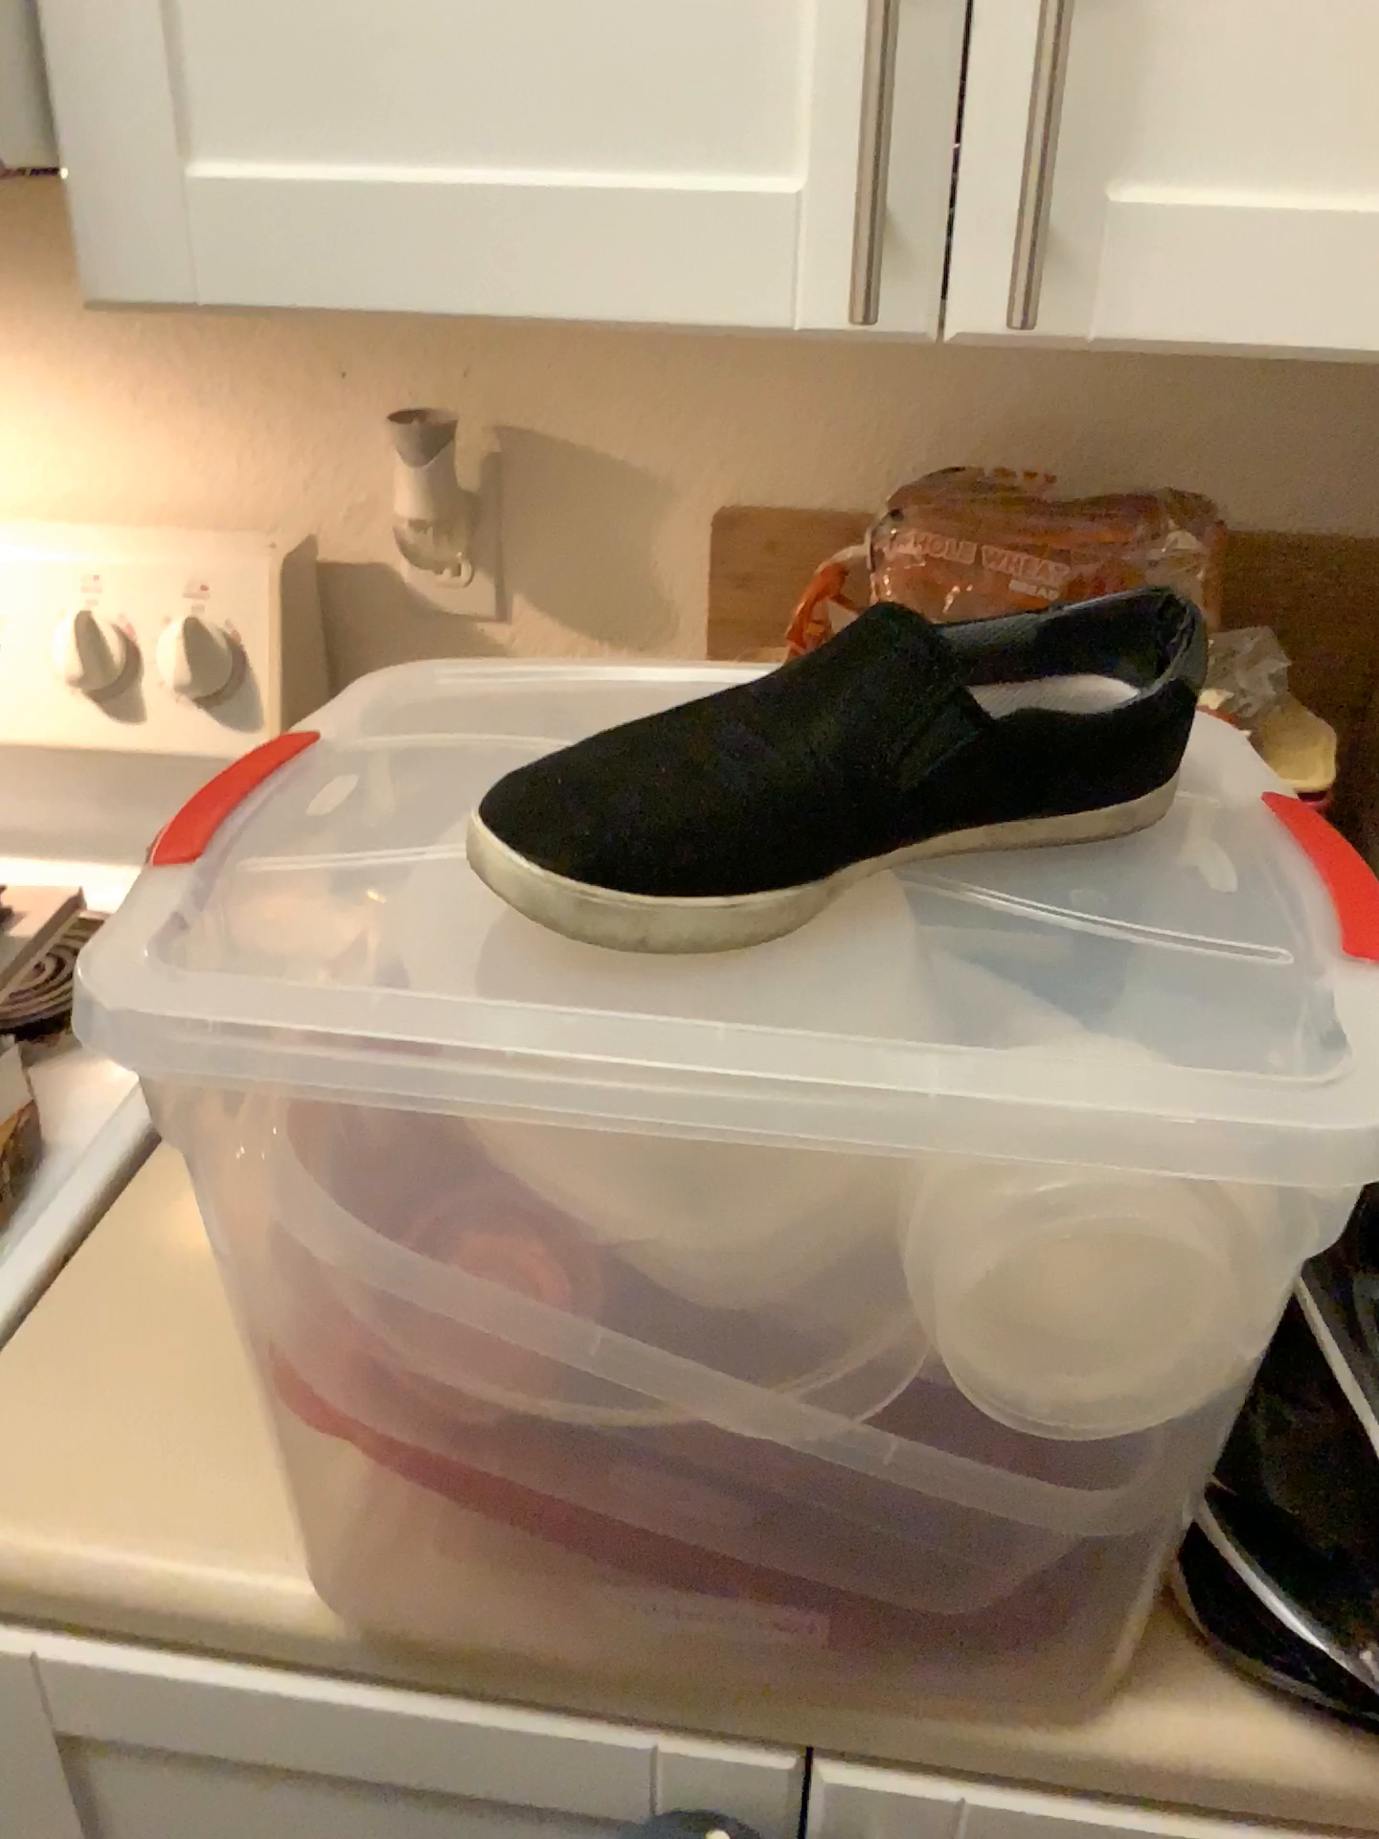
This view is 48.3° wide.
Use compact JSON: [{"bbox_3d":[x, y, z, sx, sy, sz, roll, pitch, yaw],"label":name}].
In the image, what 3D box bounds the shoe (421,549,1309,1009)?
[{"bbox_3d":[0.061,-0.058,0.500,0.270,0.070,0.100,-14,32,-26],"label":"shoe"}]
